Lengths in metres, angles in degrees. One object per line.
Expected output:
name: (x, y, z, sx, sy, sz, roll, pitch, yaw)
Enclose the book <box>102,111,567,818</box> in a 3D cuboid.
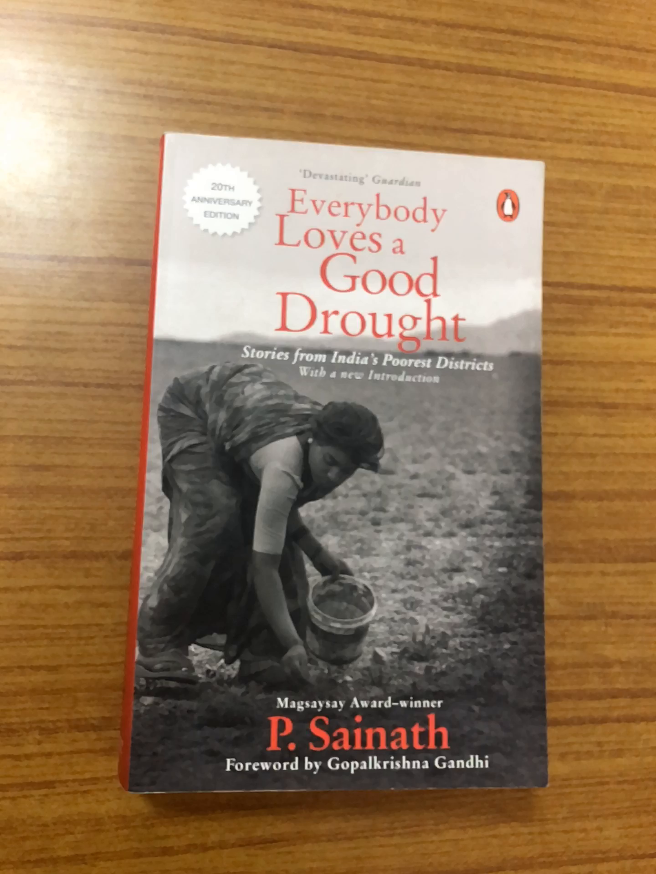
book: (0.006, 0.008, 0.250, 0.140, 0.040, 0.210, 3, 84, -9)
